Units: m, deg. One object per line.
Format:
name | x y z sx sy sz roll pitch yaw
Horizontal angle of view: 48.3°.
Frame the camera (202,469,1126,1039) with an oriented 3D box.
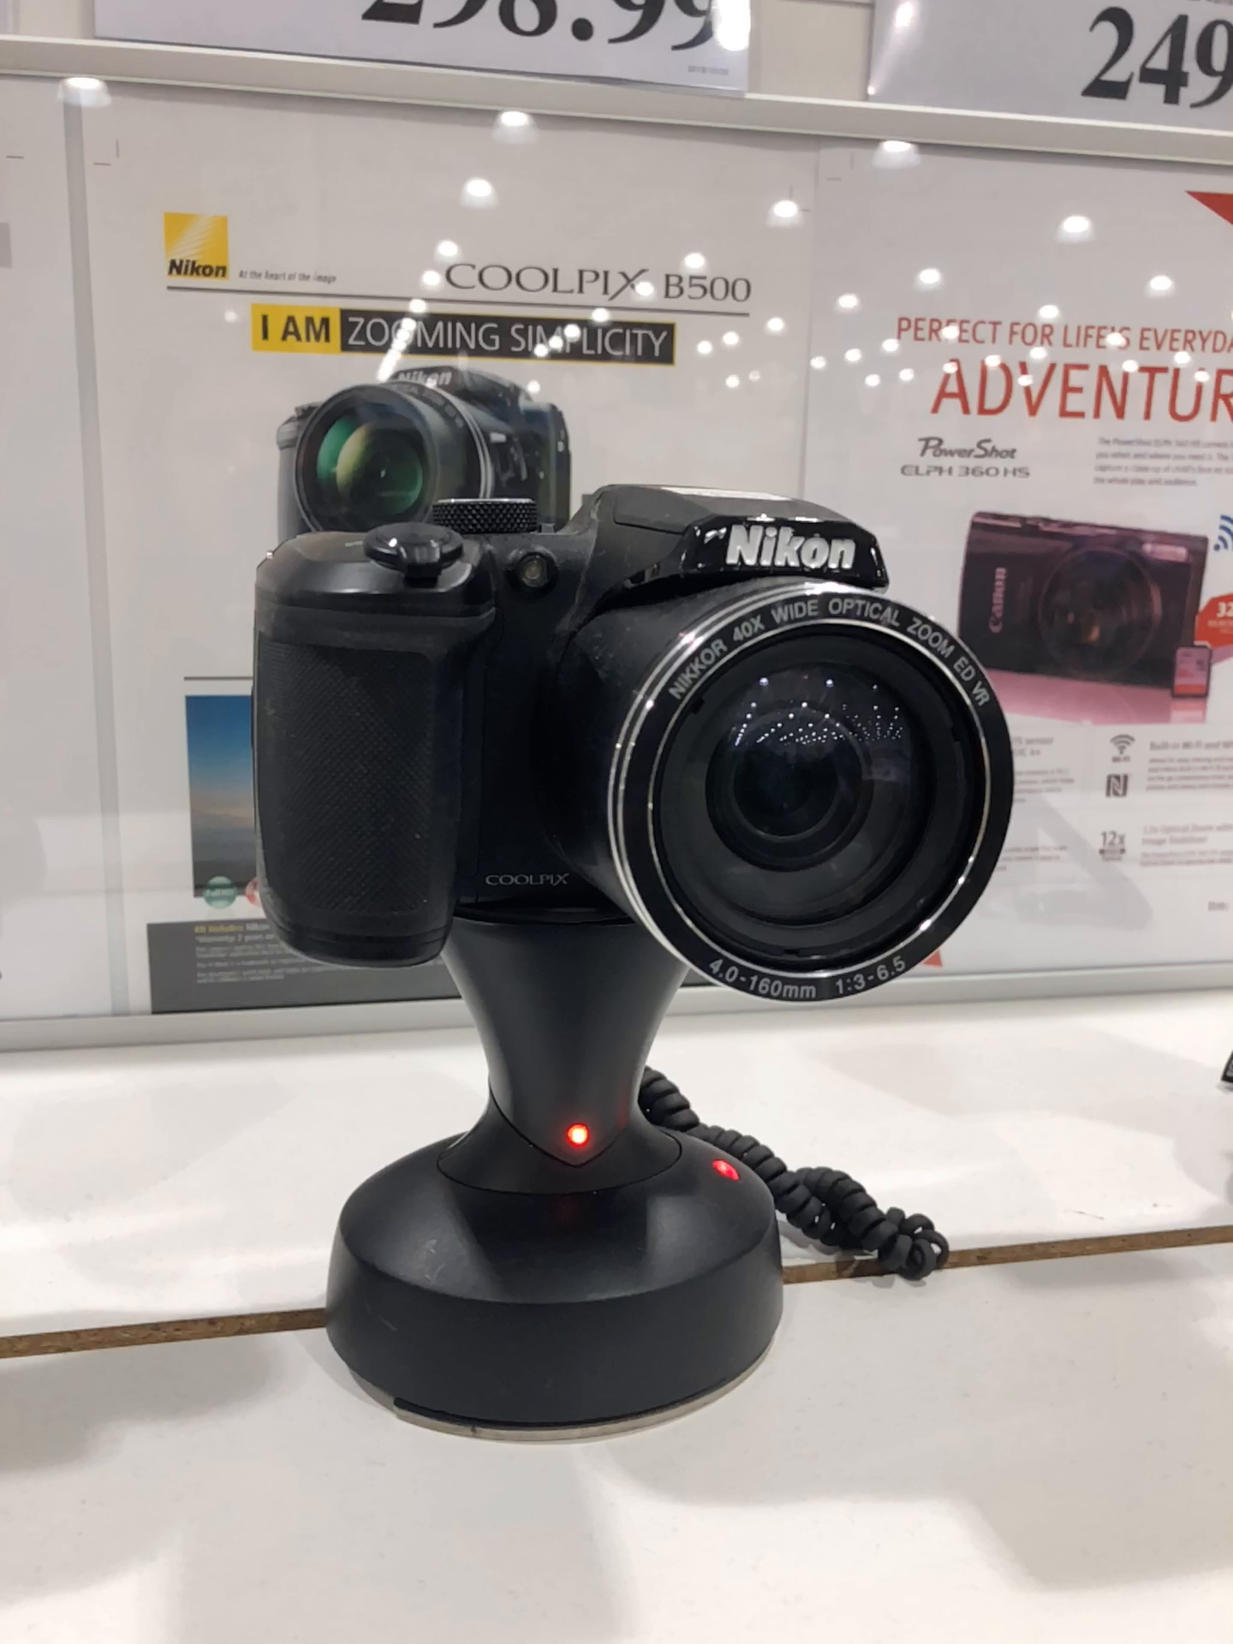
camera | -0.001 -0.020 0.228 0.120 0.070 0.100 -2 13 -13
